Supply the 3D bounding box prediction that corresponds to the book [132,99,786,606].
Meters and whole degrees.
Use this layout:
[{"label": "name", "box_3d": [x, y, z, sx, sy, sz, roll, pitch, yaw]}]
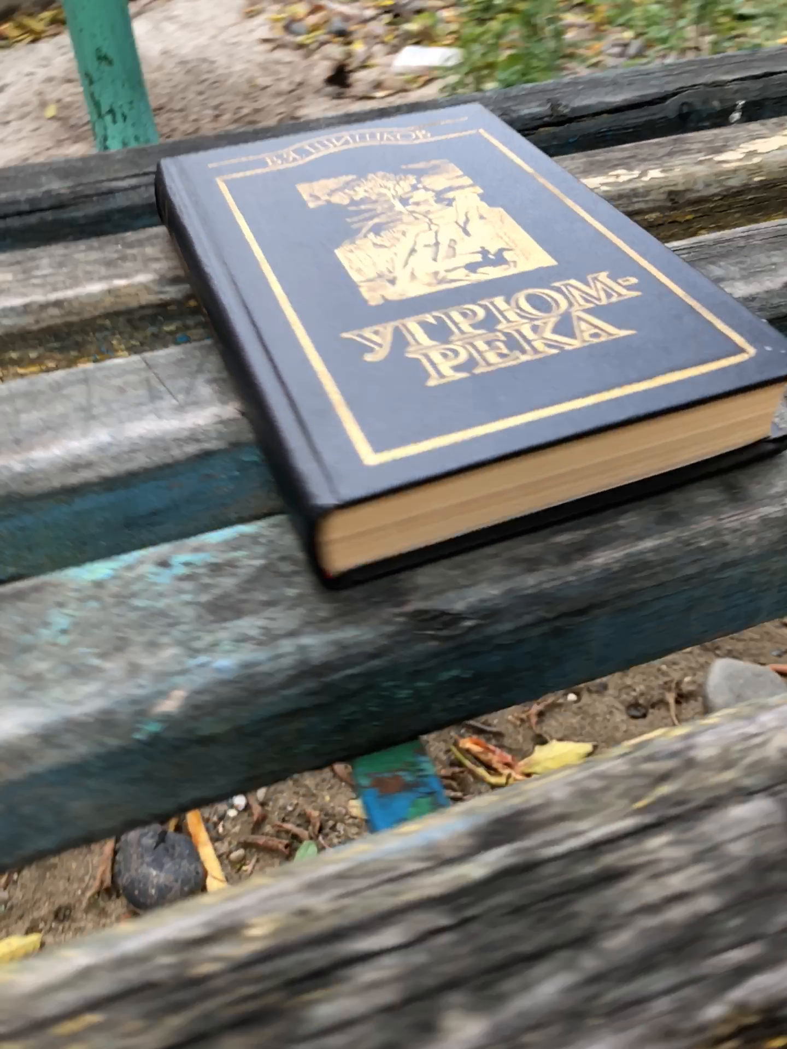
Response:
[{"label": "book", "box_3d": [0.004, -0.078, 0.281, 0.137, 0.030, 0.211, -16, 46, -14]}]
